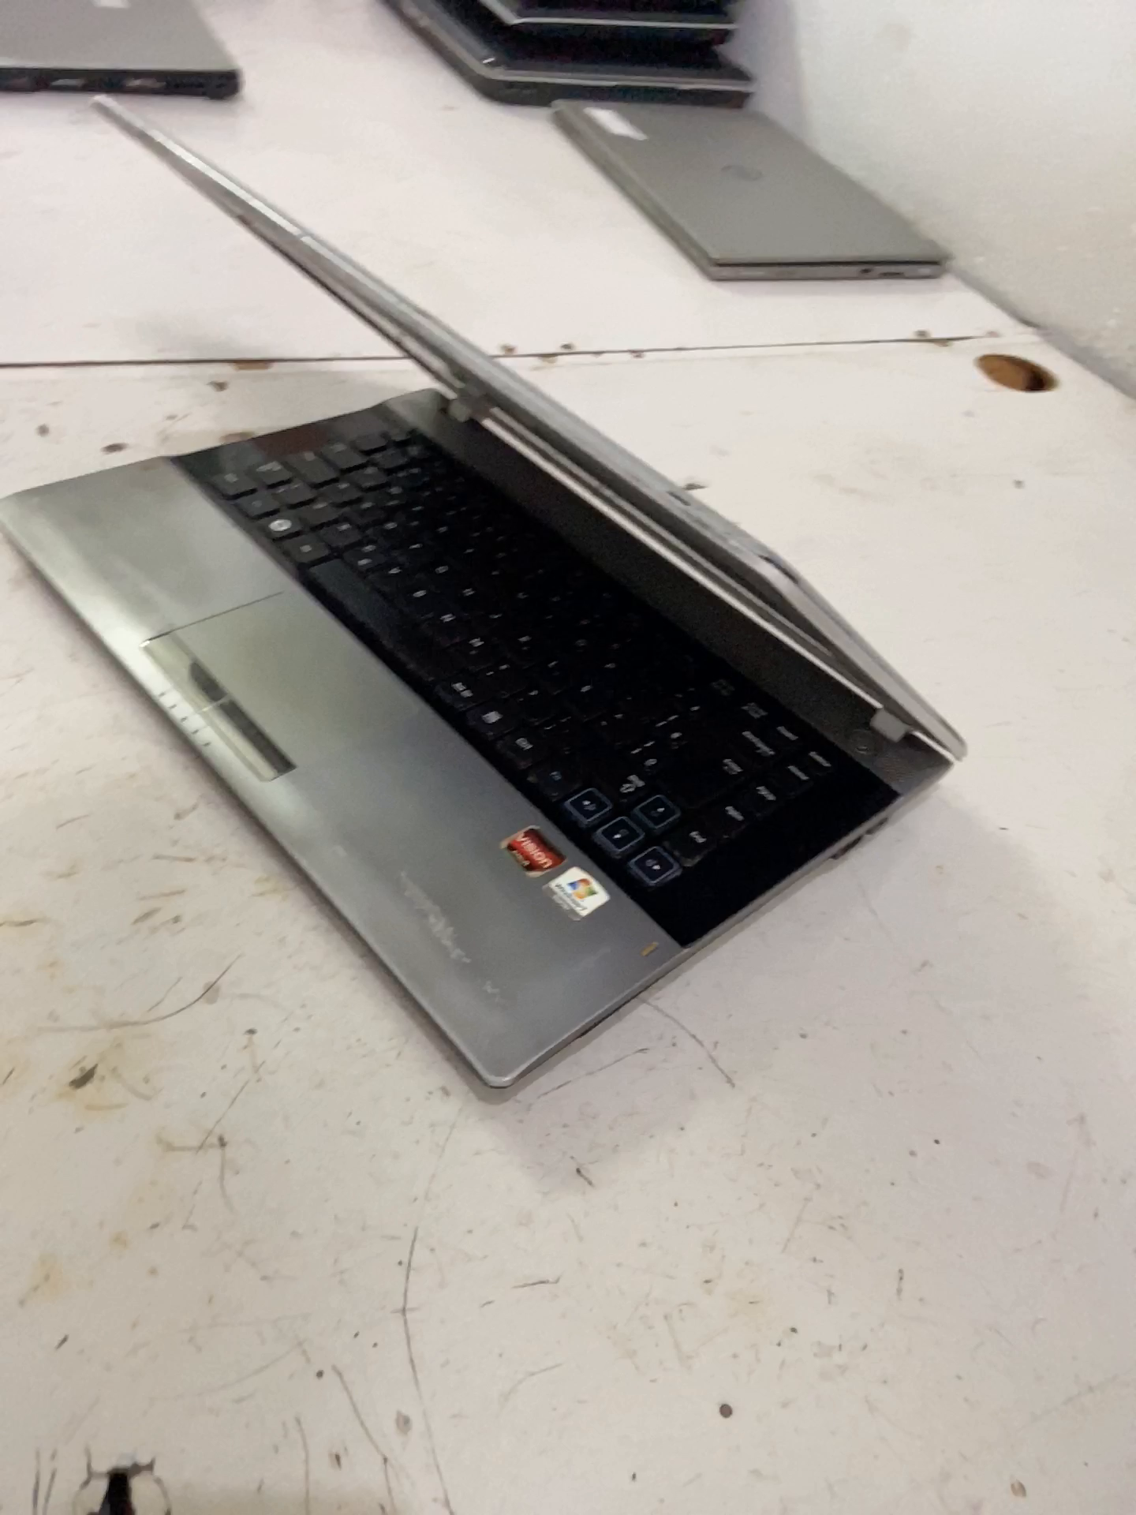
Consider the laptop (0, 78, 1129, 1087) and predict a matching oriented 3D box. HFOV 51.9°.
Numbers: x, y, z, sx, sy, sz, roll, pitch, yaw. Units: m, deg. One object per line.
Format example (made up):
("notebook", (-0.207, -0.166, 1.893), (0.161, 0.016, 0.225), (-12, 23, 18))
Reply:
("laptop", (-0.036, -0.105, 0.433), (0.234, 0.150, 0.345), (-28, 55, -33))
